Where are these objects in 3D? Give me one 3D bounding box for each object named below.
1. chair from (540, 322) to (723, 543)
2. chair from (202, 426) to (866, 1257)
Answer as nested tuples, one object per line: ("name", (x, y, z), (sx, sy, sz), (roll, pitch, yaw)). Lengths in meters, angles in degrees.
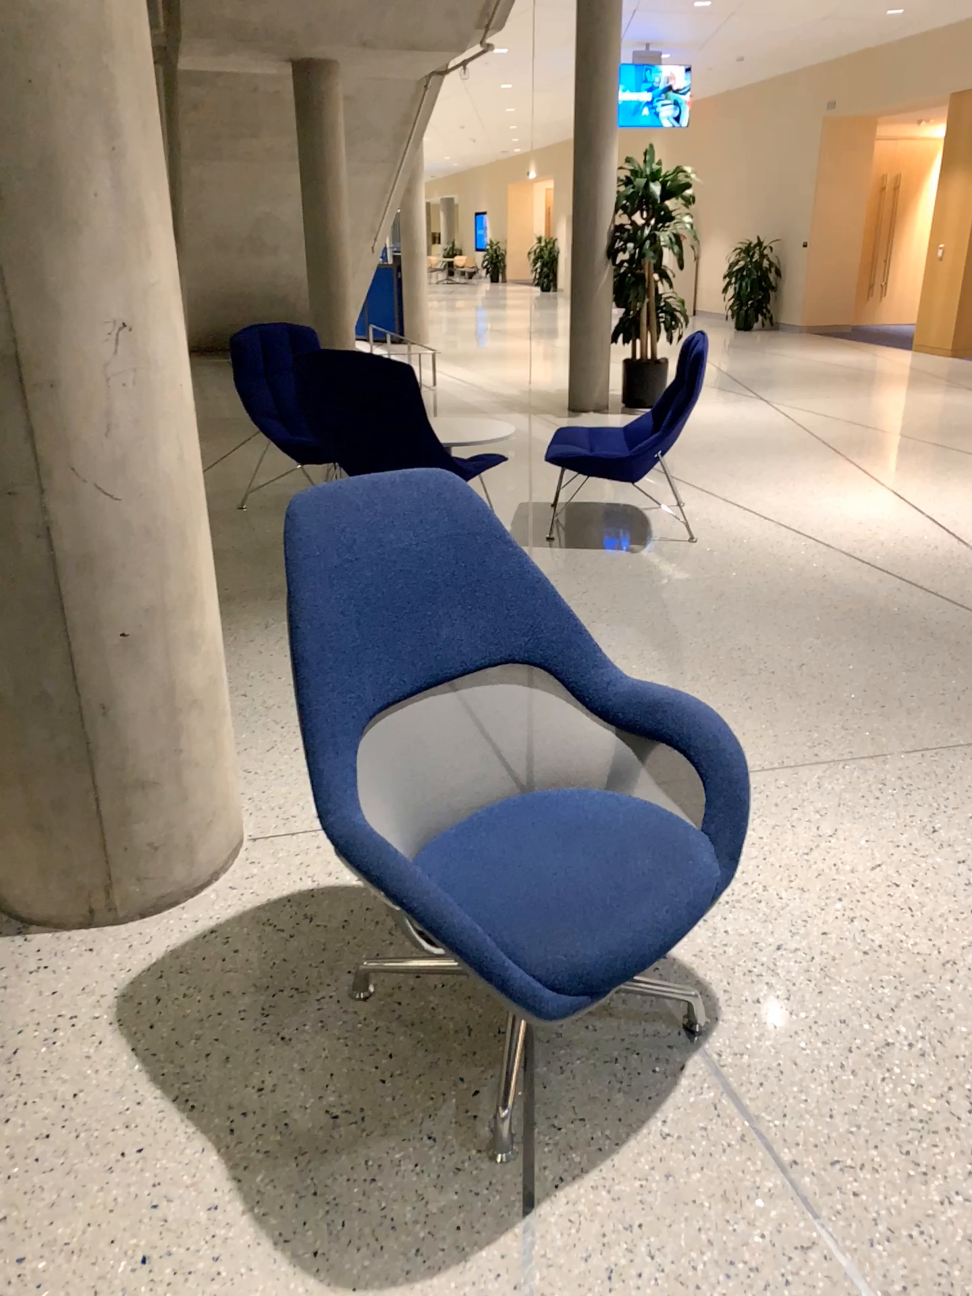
("chair", (0.690, -1.101, 4.895), (0.781, 0.918, 0.890), (2, 22, 6))
("chair", (0.092, 0.212, 1.703), (0.817, 0.997, 0.633), (-20, 29, -39))
